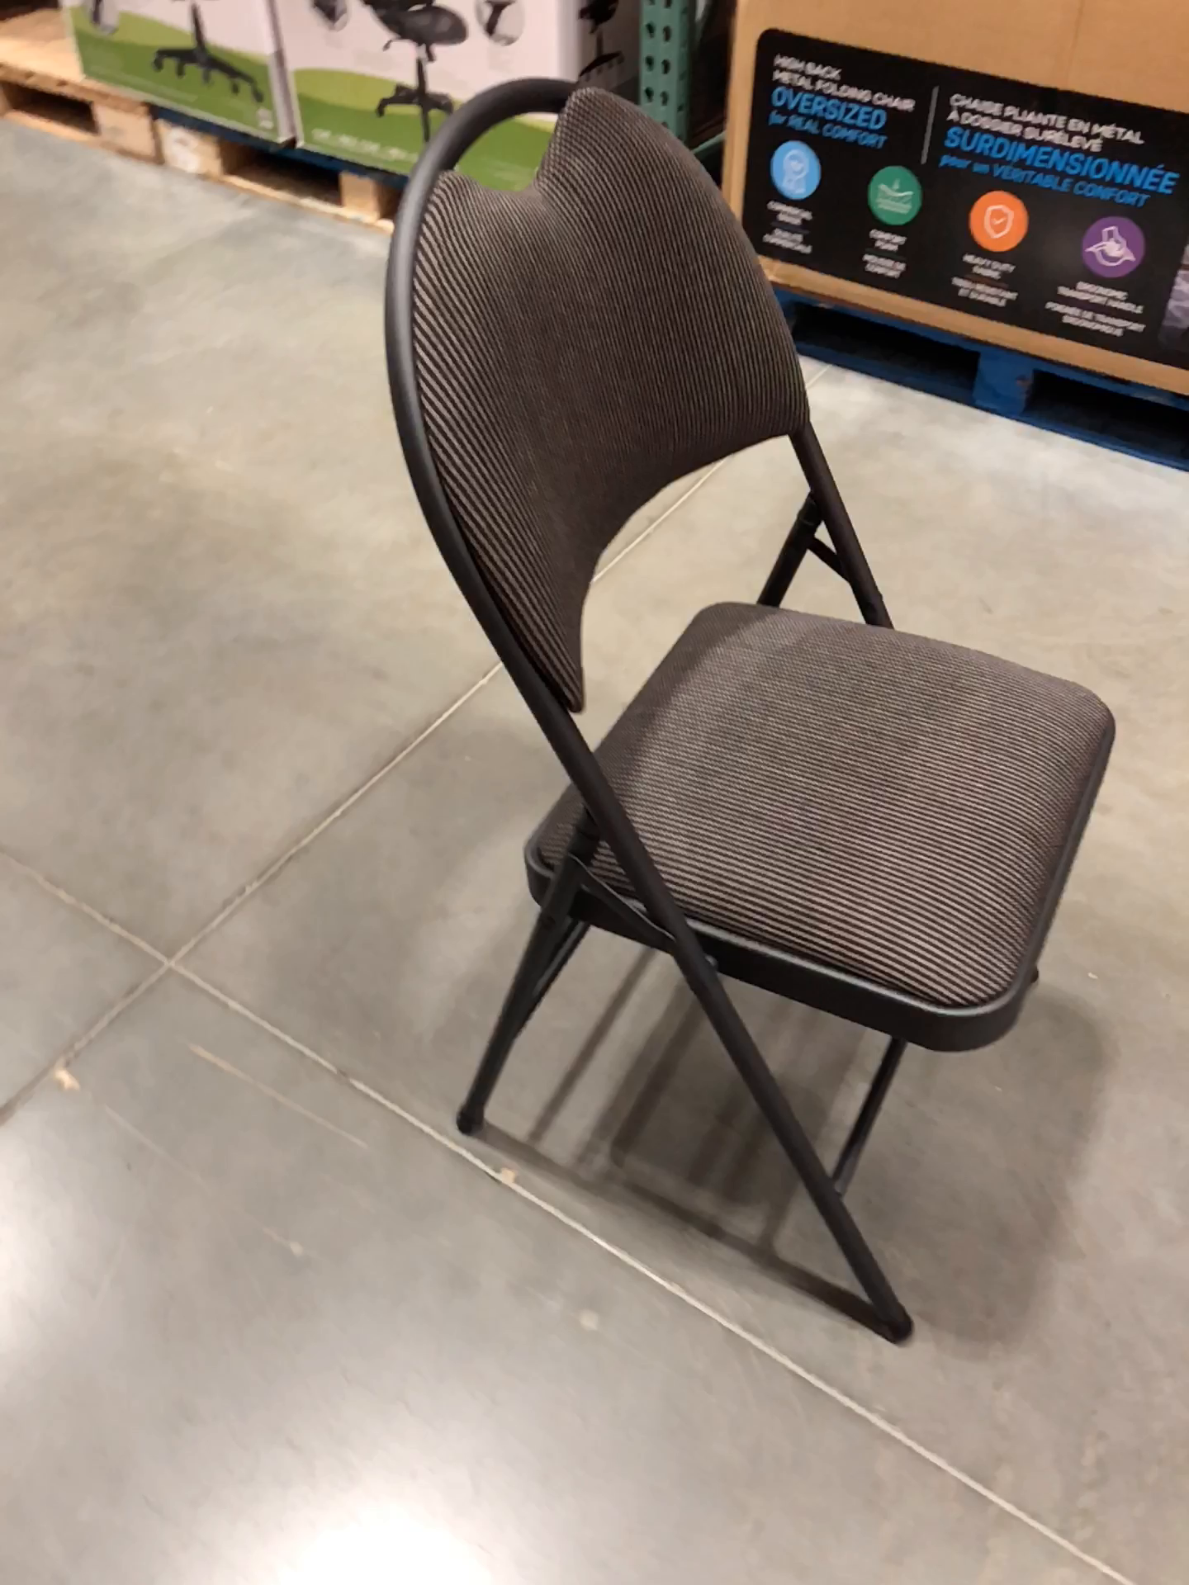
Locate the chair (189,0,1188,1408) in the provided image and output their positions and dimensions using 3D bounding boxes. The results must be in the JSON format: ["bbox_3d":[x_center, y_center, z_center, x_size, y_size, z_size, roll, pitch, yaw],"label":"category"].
[{"bbox_3d":[0.171,-0.061,1.022,0.561,0.866,0.521,22,49,21],"label":"chair"}]
